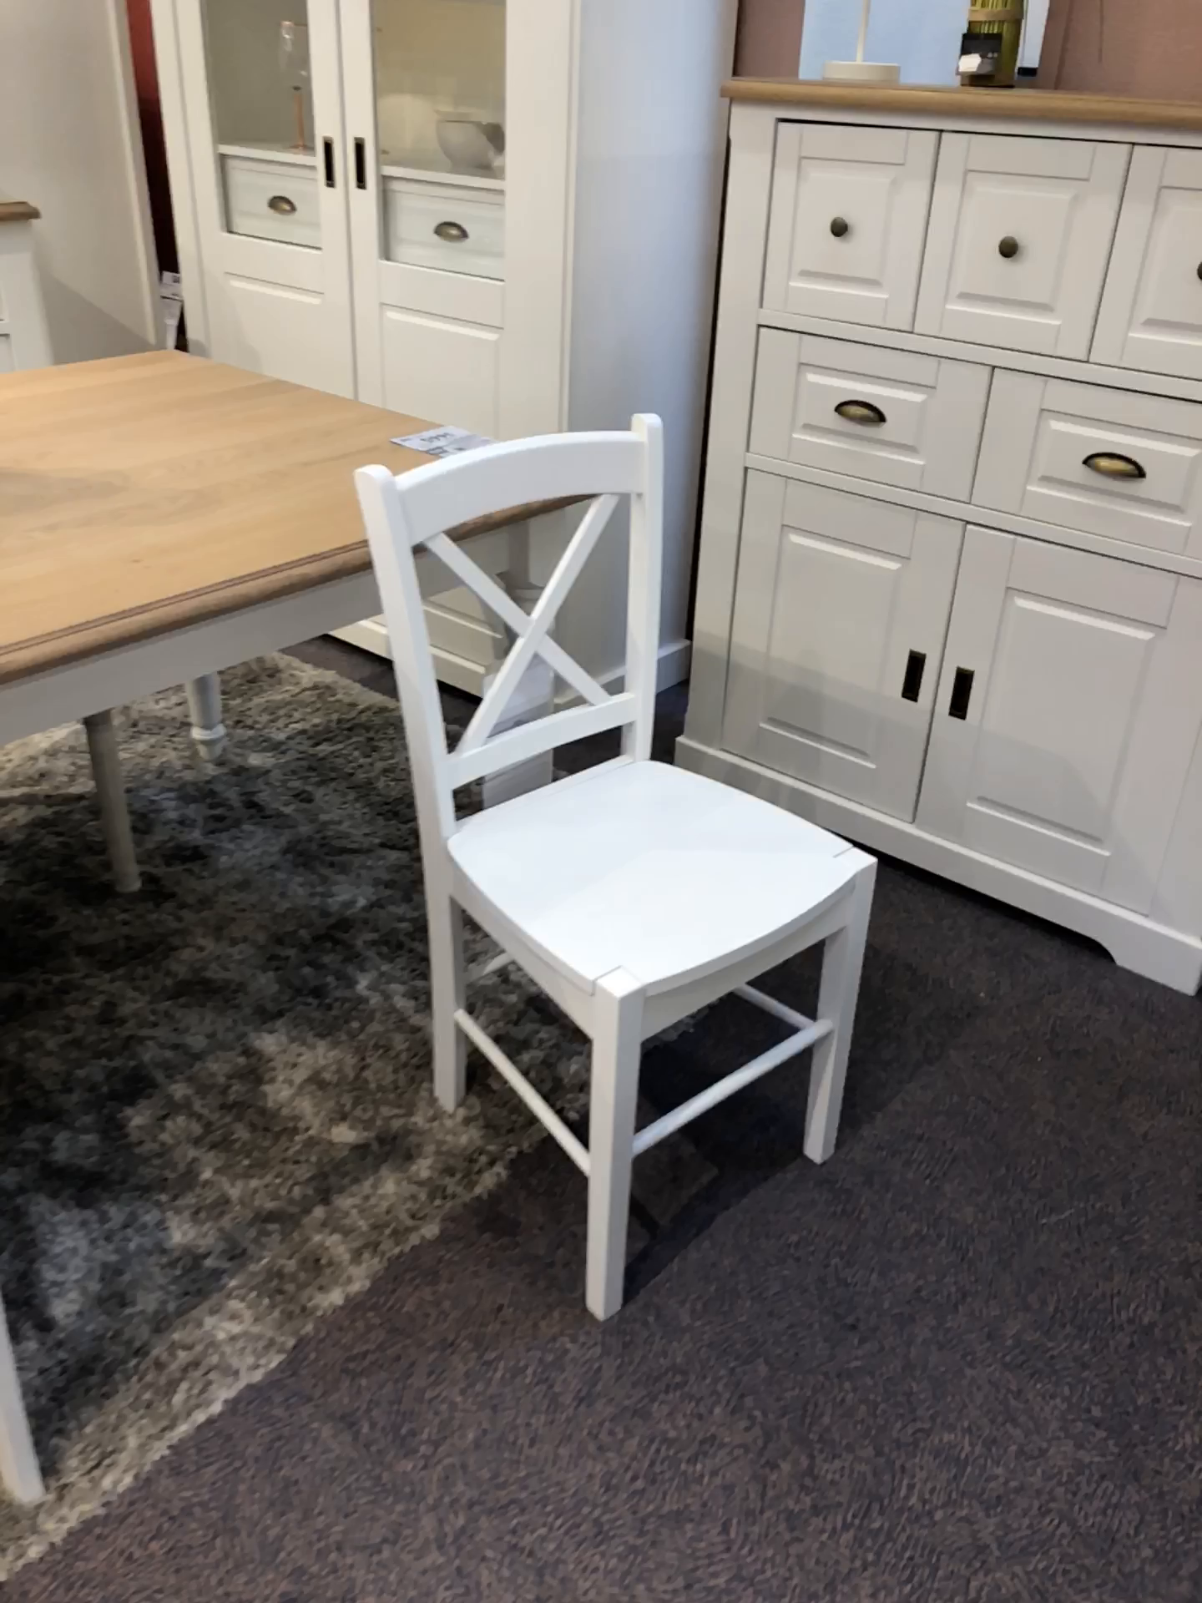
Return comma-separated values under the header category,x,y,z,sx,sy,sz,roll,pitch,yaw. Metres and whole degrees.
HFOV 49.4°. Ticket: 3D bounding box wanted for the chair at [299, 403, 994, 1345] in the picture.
category,x,y,z,sx,sy,sz,roll,pitch,yaw
chair,0.030,0.043,1.411,0.463,0.785,0.460,-24,38,-39
